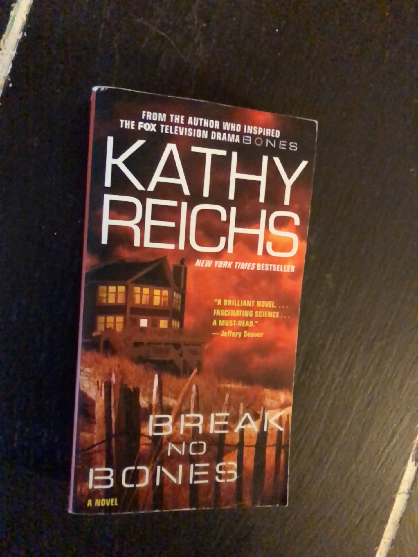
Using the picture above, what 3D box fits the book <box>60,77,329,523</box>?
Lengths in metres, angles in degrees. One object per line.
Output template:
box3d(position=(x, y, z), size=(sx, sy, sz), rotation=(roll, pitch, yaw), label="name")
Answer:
box3d(position=(-0.008, 0.014, 0.223), size=(0.108, 0.030, 0.189), rotation=(4, 95, -15), label="book")
